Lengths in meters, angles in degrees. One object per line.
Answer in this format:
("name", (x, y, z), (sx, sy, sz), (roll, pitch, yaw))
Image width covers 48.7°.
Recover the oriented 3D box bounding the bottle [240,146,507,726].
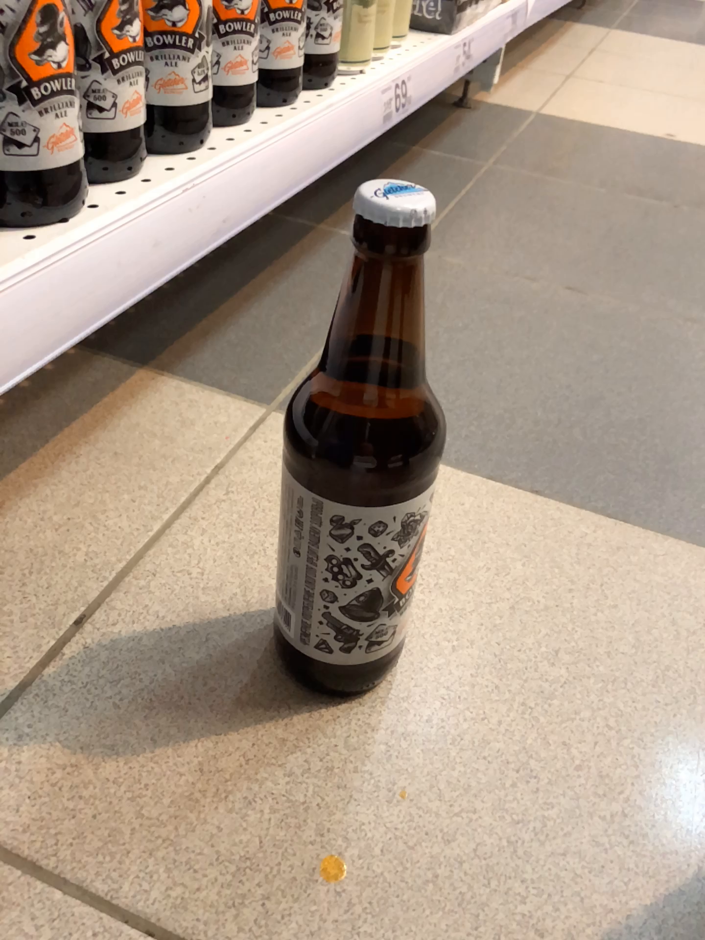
("bottle", (0.000, 0.000, 0.336), (0.070, 0.239, 0.075), (4, 39, -3))
